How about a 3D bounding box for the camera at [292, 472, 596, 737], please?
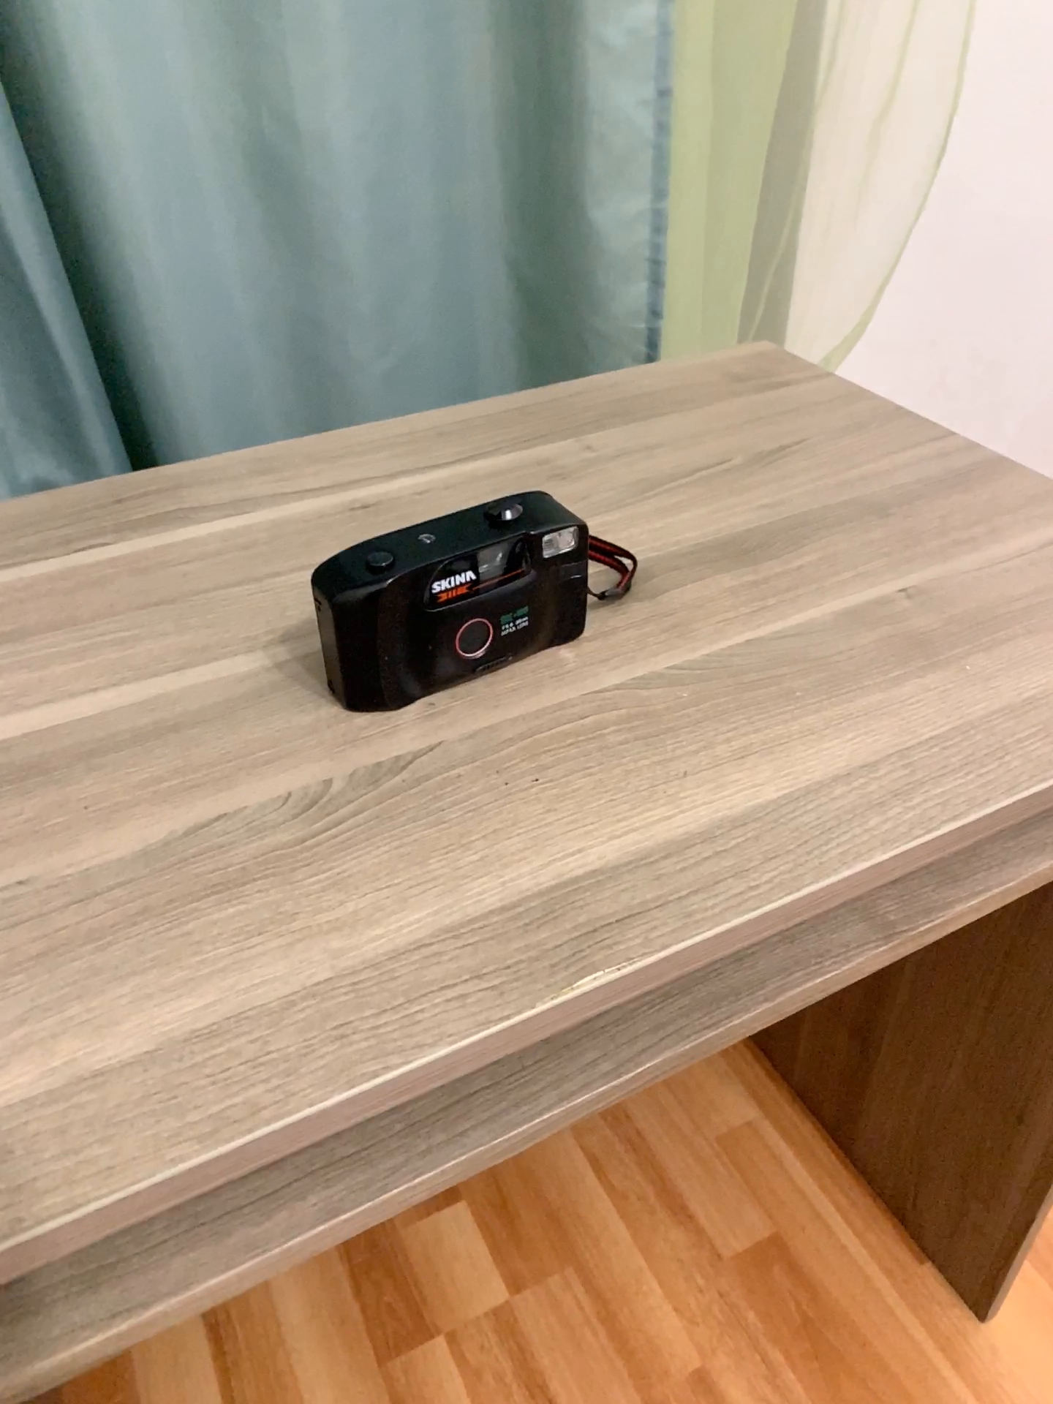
[{"bbox_3d":[-0.032,-0.045,0.470,0.120,0.069,0.045,-23,41,-28],"label":"camera"}]
